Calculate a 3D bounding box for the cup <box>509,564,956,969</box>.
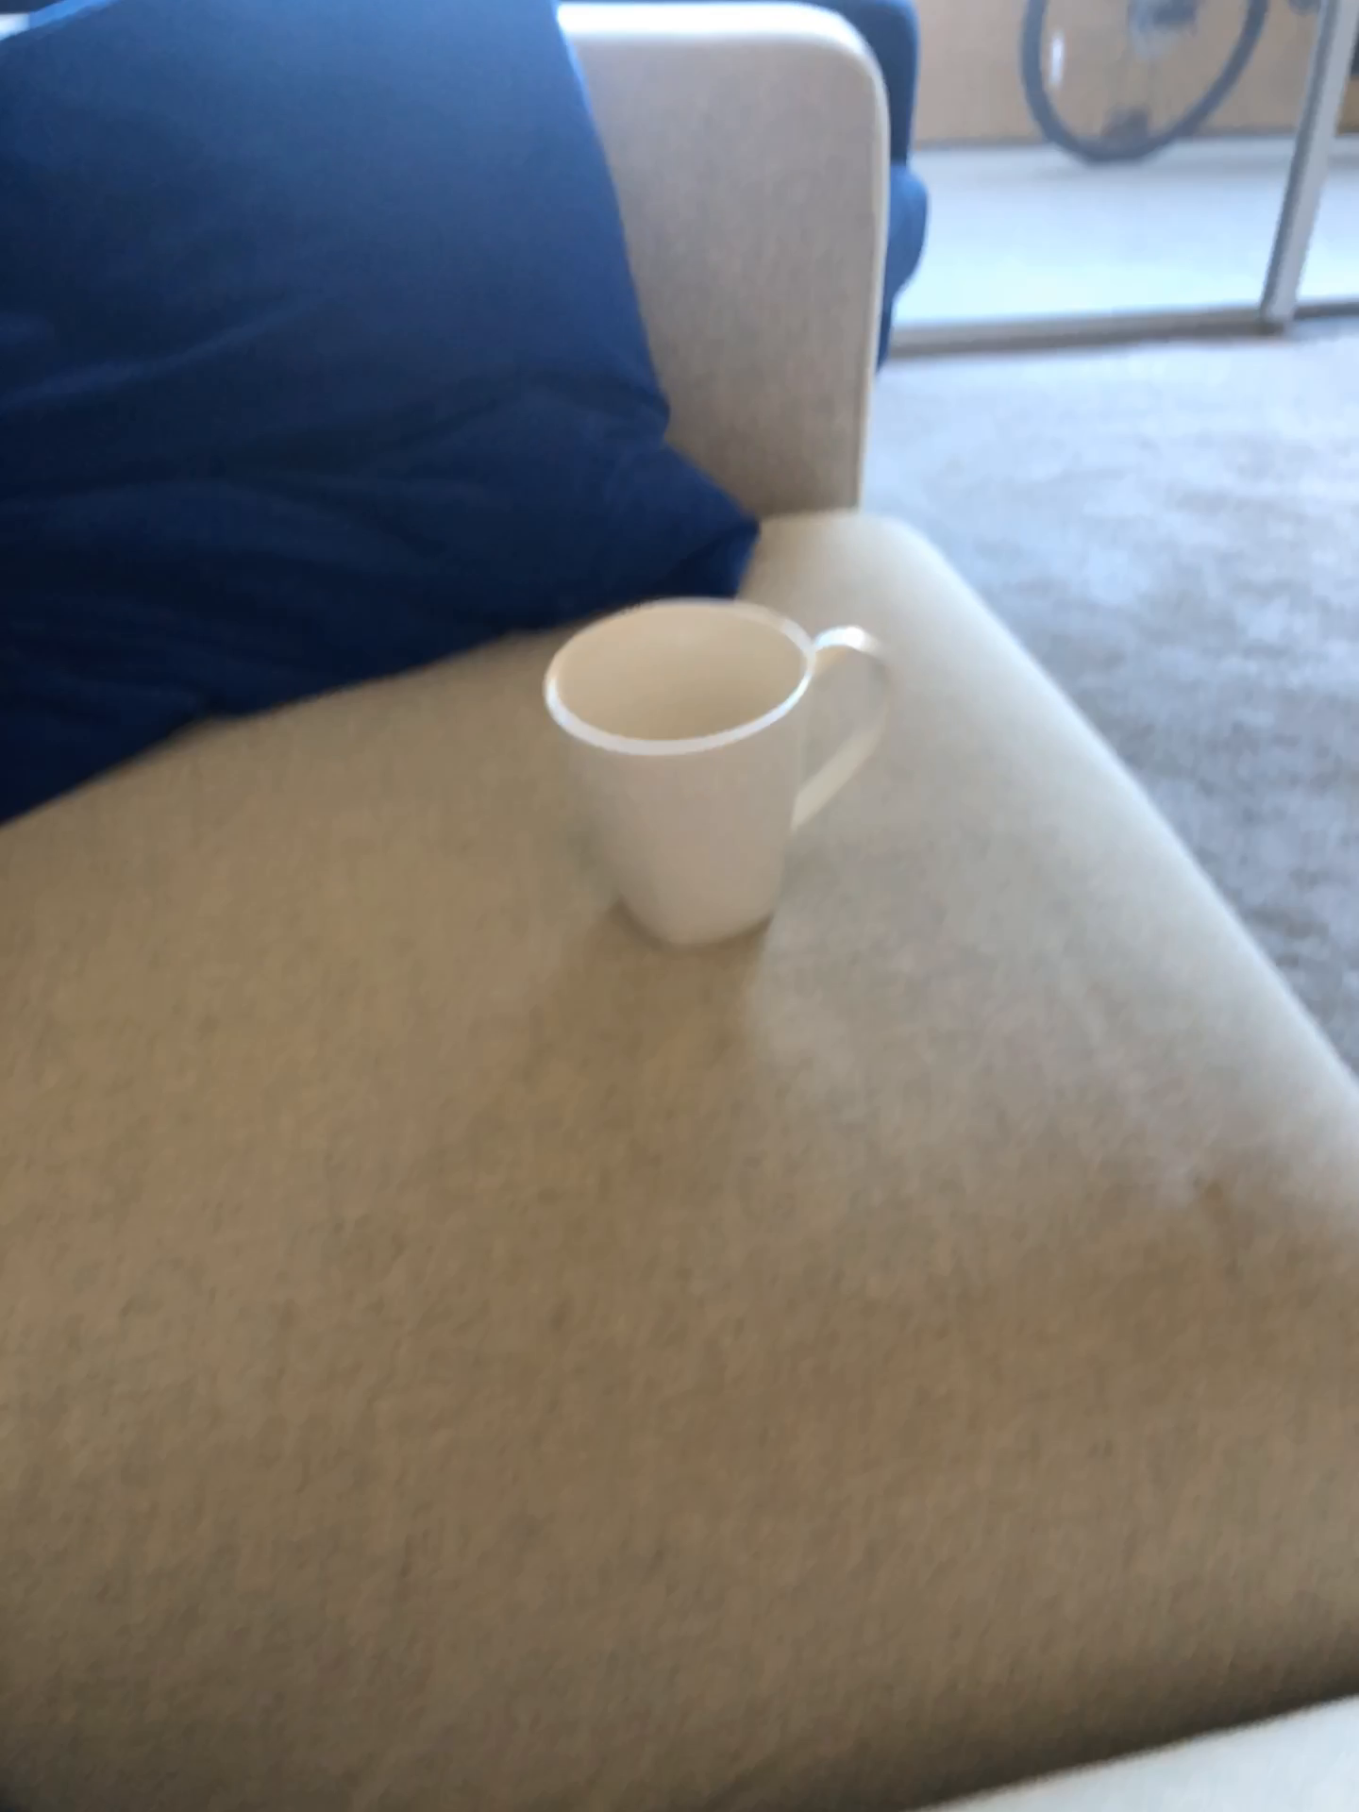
[{"bbox_3d":[0.016,-0.055,0.558,0.130,0.090,0.100,-11,38,-15],"label":"cup"}]
